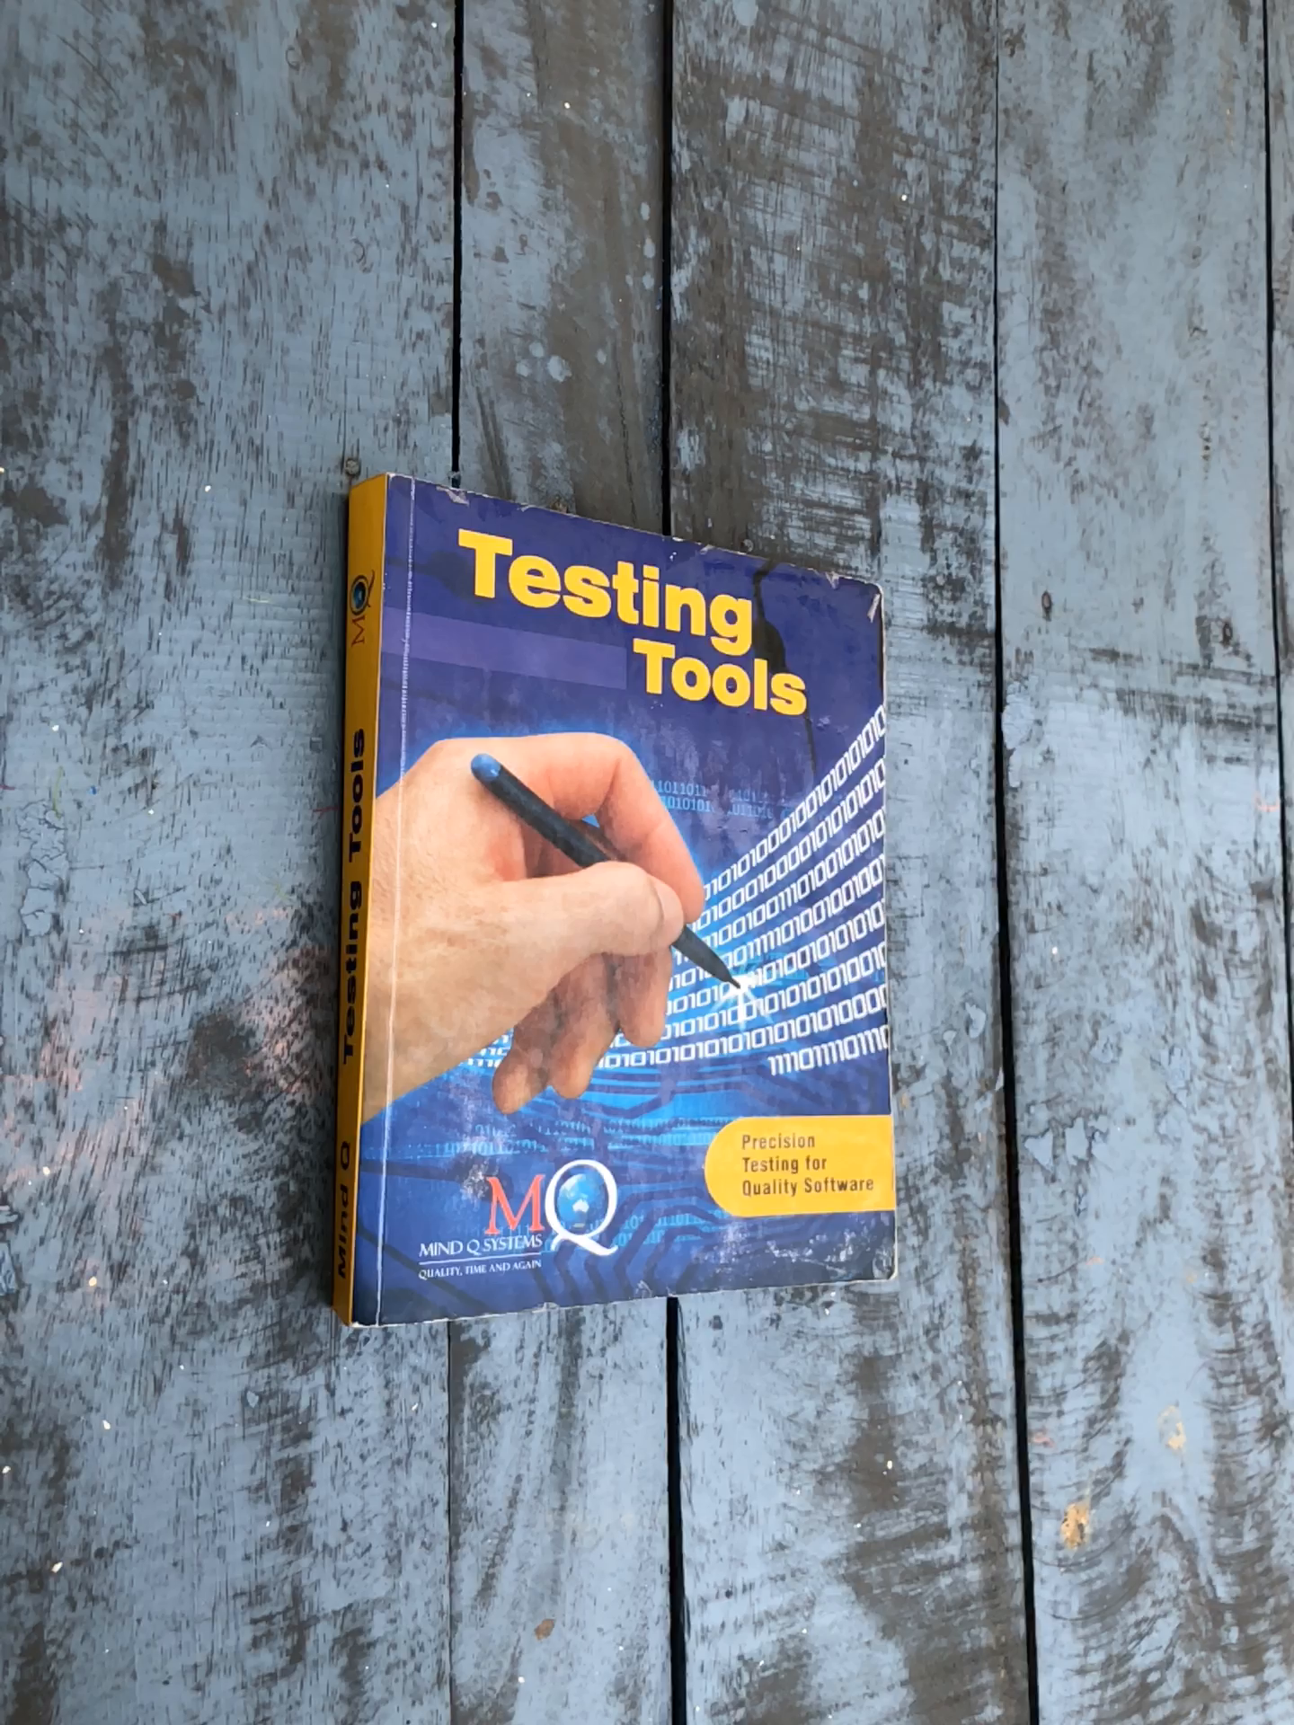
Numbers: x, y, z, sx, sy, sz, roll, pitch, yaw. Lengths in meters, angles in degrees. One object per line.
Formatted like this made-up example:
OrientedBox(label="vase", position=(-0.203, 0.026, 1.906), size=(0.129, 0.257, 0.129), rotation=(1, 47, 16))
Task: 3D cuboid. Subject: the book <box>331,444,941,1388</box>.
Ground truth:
OrientedBox(label="book", position=(0.001, 0.018, 0.463), size=(0.191, 0.050, 0.260), rotation=(4, 82, -30))
